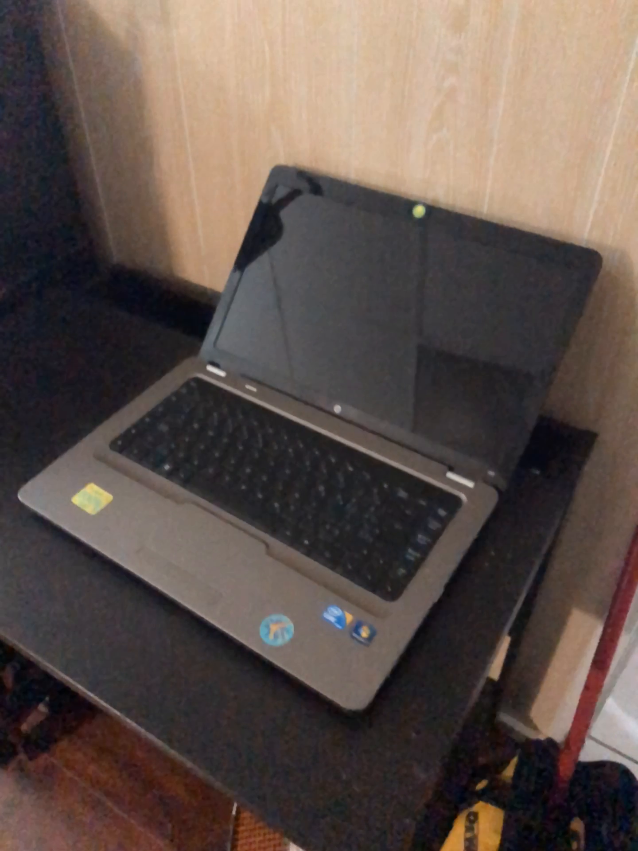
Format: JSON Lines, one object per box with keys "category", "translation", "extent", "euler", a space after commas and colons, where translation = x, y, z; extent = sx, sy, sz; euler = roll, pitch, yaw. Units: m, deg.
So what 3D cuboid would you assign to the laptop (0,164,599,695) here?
{"category": "laptop", "translation": [-0.012, -0.053, 0.649], "extent": [0.364, 0.154, 0.420], "euler": [24, 49, 25]}
